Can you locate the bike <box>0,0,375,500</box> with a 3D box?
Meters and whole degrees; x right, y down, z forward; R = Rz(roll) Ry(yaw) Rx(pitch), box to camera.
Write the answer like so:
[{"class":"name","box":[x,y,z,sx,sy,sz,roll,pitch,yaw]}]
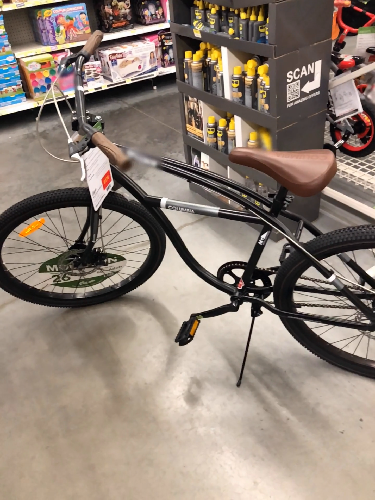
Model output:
[{"class":"bike","box":[0.047,-0.036,1.071,1.583,0.975,0.656,10,40,12]}]
